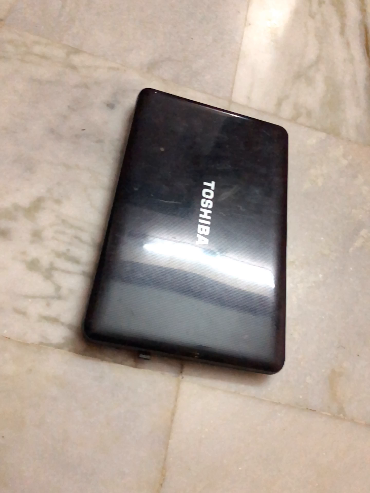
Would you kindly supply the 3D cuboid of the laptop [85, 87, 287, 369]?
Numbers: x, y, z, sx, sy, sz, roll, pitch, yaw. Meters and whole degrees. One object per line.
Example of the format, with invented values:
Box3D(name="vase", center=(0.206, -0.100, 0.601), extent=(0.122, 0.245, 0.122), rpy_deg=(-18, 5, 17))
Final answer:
Box3D(name="laptop", center=(0.026, -0.044, 0.524), extent=(0.224, 0.004, 0.360), rpy_deg=(13, 63, -10))
